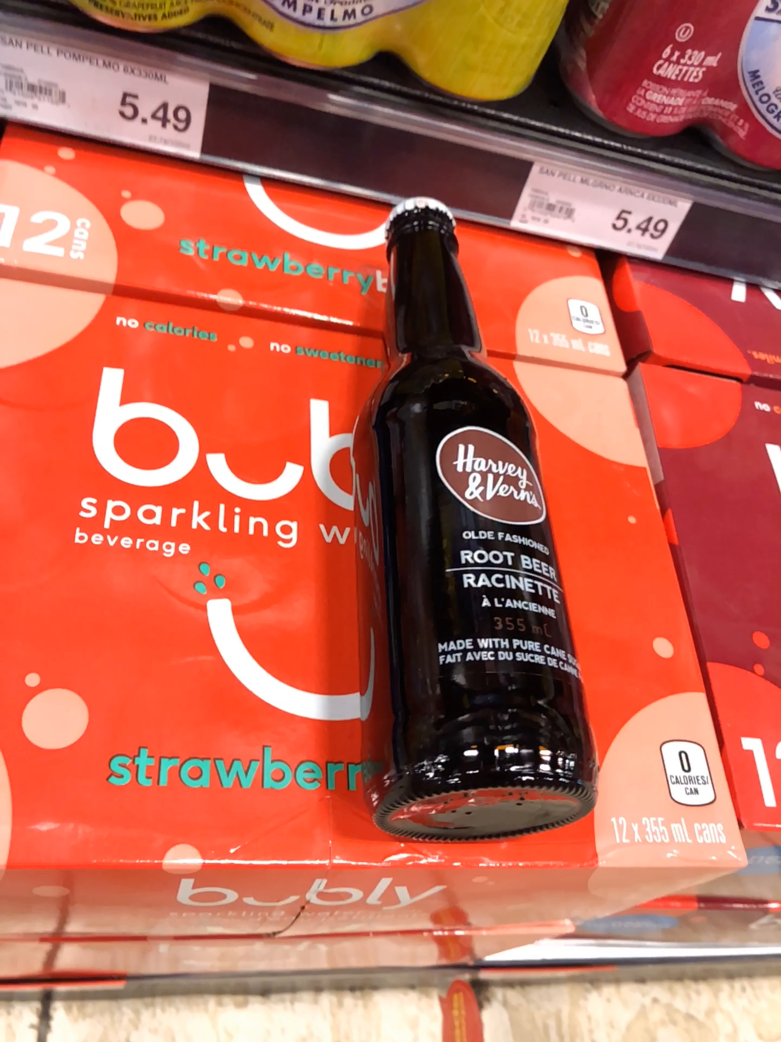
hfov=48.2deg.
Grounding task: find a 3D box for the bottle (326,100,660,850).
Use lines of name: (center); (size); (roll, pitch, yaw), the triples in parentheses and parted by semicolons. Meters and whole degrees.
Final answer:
bottle: (0.017, -0.025, 0.275); (0.060, 0.070, 0.230); (7, 57, -15)
